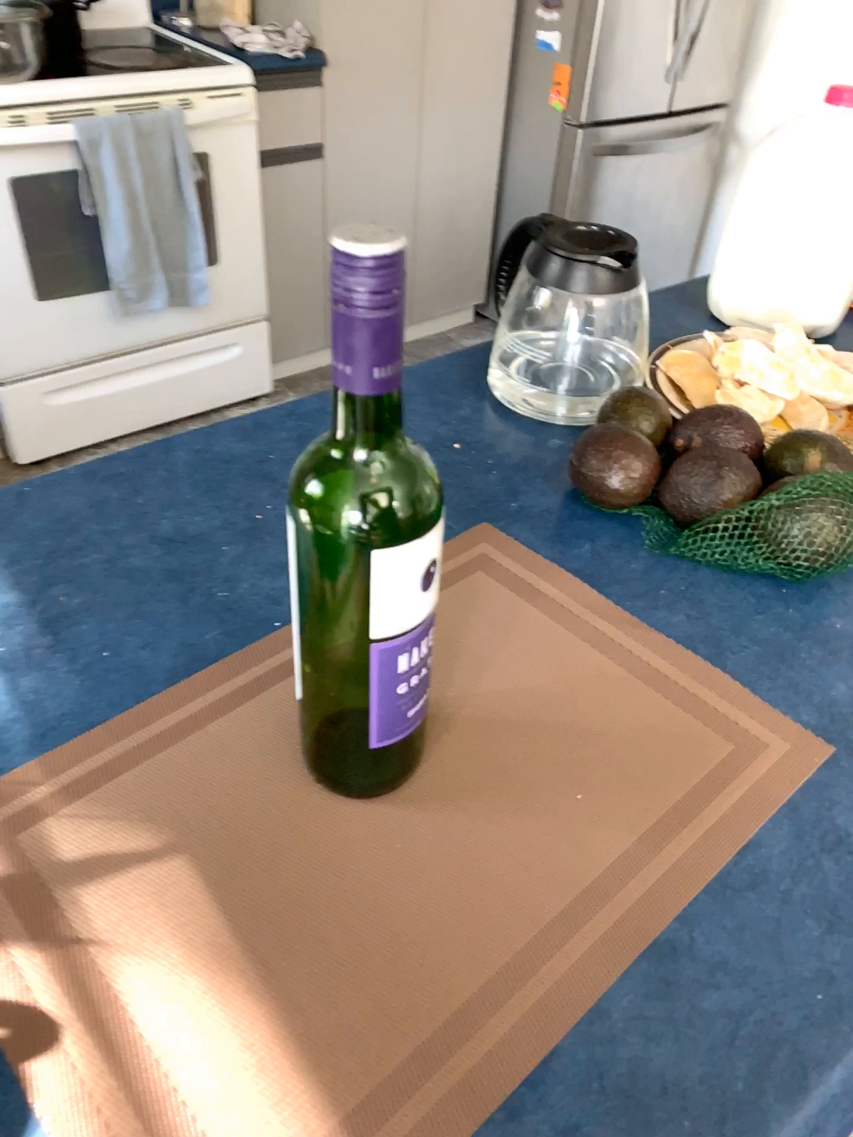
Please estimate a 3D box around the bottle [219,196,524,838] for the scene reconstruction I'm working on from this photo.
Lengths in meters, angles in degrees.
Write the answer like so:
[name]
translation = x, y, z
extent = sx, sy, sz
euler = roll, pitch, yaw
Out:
[bottle]
translation = -0.025, -0.006, 0.404
extent = 0.080, 0.287, 0.081
euler = 2, 39, -2
